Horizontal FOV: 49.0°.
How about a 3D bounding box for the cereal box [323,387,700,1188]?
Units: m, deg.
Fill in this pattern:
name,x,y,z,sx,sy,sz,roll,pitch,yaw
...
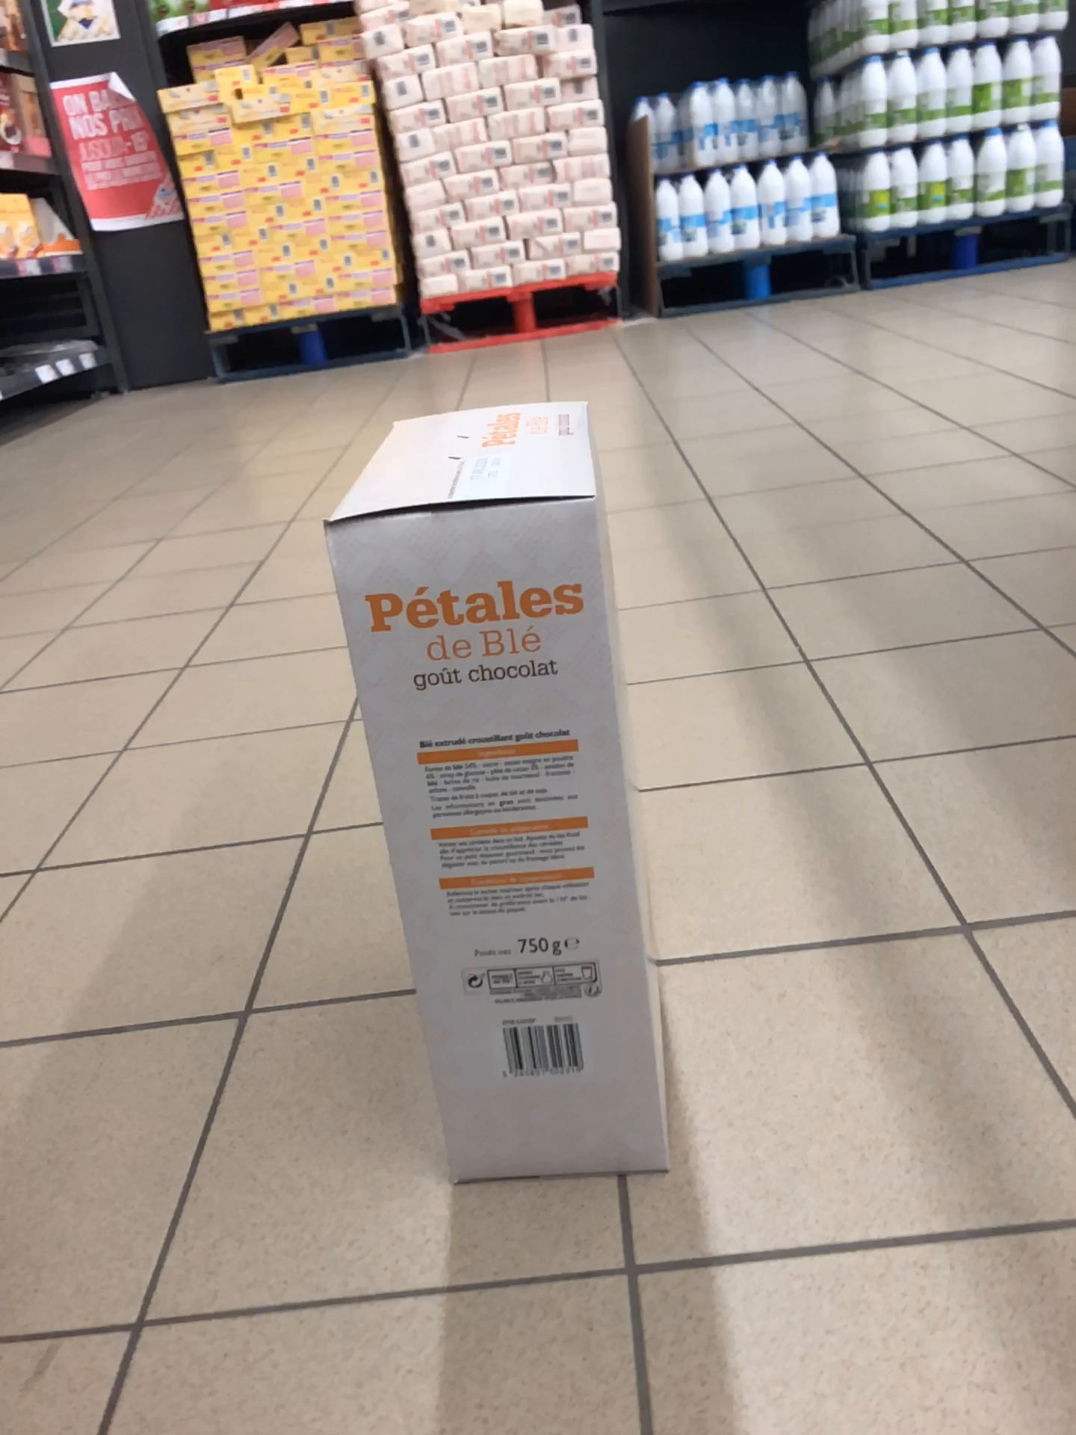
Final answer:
name,x,y,z,sx,sy,sz,roll,pitch,yaw
cereal box,0.001,0.021,0.521,0.100,0.289,0.191,-6,22,4
